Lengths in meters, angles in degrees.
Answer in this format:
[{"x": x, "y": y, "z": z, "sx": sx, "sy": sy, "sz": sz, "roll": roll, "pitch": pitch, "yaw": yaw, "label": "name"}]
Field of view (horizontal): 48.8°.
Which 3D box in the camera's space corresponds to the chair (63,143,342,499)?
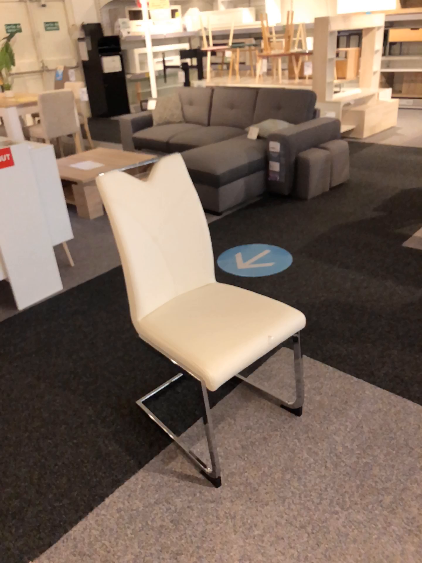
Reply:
[{"x": -0.003, "y": 0.072, "z": 1.607, "sx": 0.630, "sy": 0.915, "sz": 0.563, "roll": 21, "pitch": 36, "yaw": 40, "label": "chair"}]
